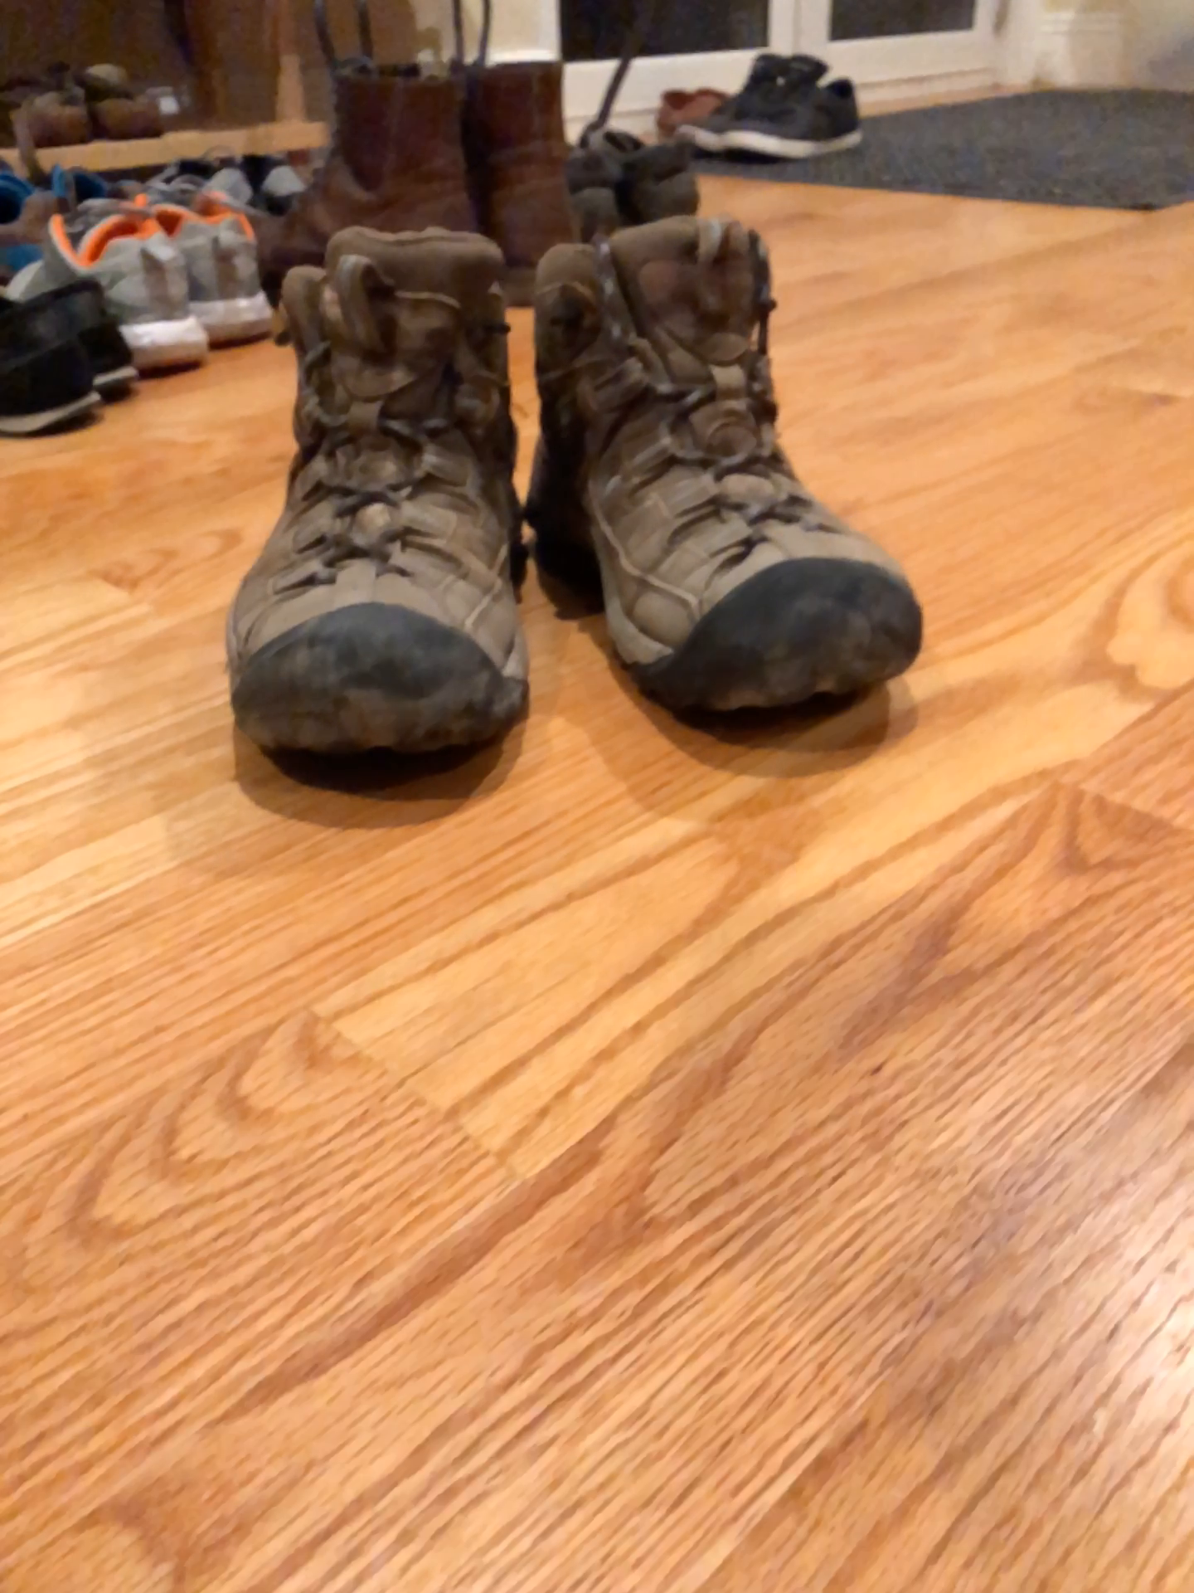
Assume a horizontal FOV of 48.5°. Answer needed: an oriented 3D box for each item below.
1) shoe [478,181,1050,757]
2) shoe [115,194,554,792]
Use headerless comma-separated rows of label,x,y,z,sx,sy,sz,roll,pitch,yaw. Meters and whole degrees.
shoe,0.041,-0.144,0.509,0.107,0.139,0.261,-10,32,-14
shoe,-0.075,-0.130,0.491,0.107,0.139,0.261,-3,31,-2
